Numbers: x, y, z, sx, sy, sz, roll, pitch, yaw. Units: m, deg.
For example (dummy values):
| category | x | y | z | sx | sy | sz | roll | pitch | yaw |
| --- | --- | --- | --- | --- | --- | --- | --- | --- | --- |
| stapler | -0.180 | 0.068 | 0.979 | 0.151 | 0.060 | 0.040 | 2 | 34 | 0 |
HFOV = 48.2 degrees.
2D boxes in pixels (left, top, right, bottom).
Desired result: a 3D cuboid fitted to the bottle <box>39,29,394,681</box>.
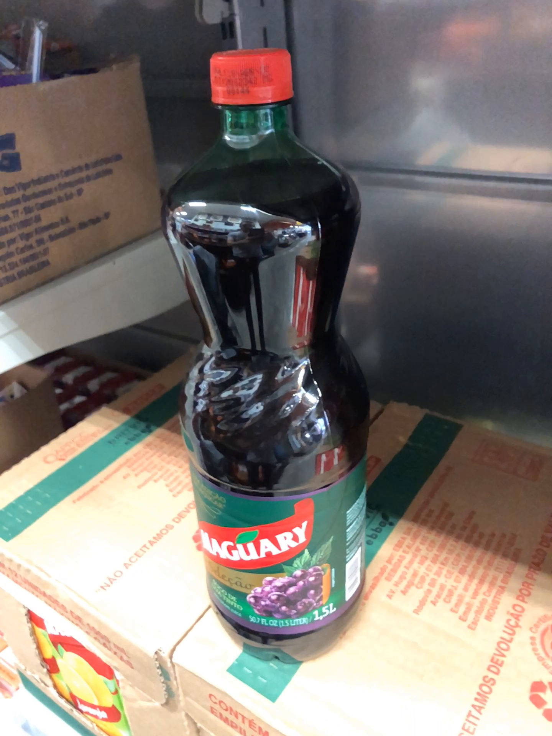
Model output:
| category | x | y | z | sx | sy | sz | roll | pitch | yaw |
| --- | --- | --- | --- | --- | --- | --- | --- | --- | --- |
| bottle | -0.007 | 0.011 | 0.288 | 0.100 | 0.288 | 0.081 | 7 | 33 | 17 |
